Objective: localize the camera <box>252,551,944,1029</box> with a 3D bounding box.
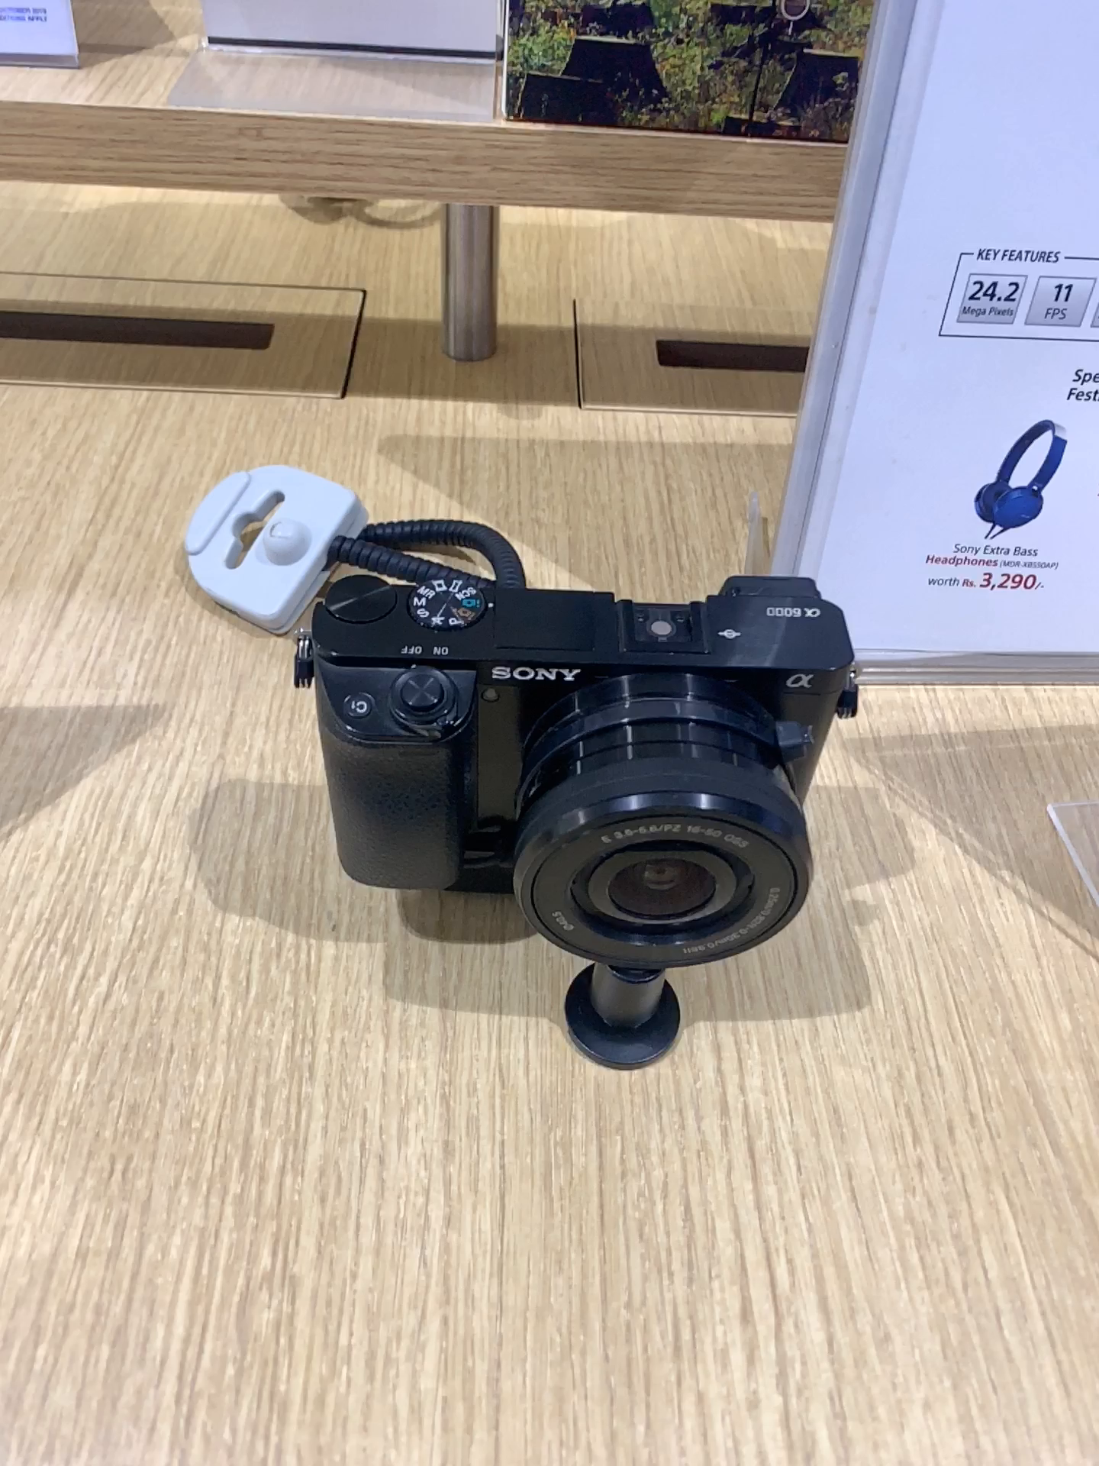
[{"bbox_3d":[0.007,0.016,0.268,0.130,0.090,0.070,0,47,-4],"label":"camera"}]
